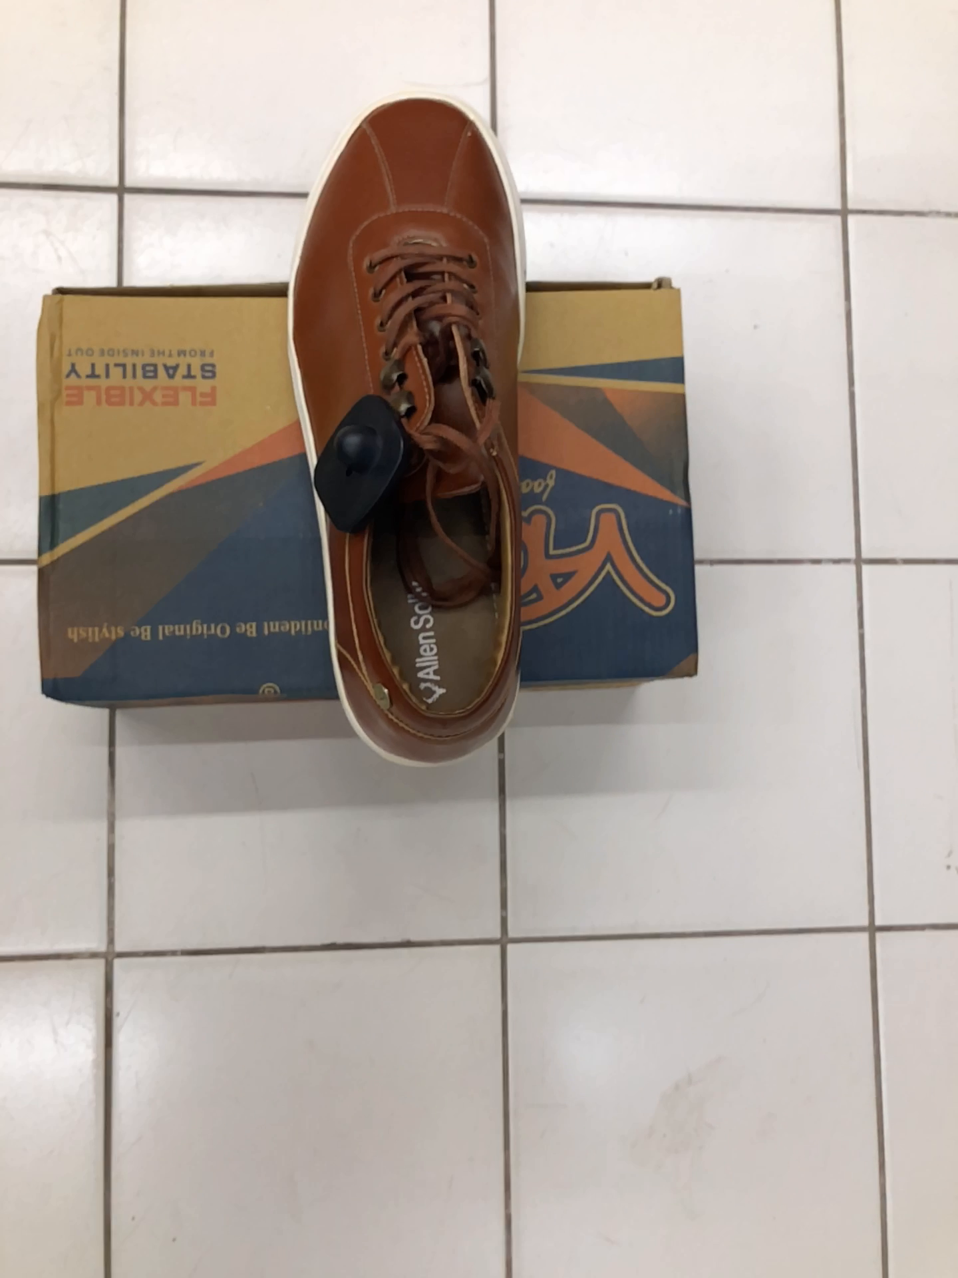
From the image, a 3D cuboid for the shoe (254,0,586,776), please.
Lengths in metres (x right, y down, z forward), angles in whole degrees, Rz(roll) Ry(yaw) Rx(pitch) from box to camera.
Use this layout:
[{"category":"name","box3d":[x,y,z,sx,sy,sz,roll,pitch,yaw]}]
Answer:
[{"category":"shoe","box3d":[-0.025,-0.094,0.410,0.100,0.110,0.280,-2,86,-6]}]
